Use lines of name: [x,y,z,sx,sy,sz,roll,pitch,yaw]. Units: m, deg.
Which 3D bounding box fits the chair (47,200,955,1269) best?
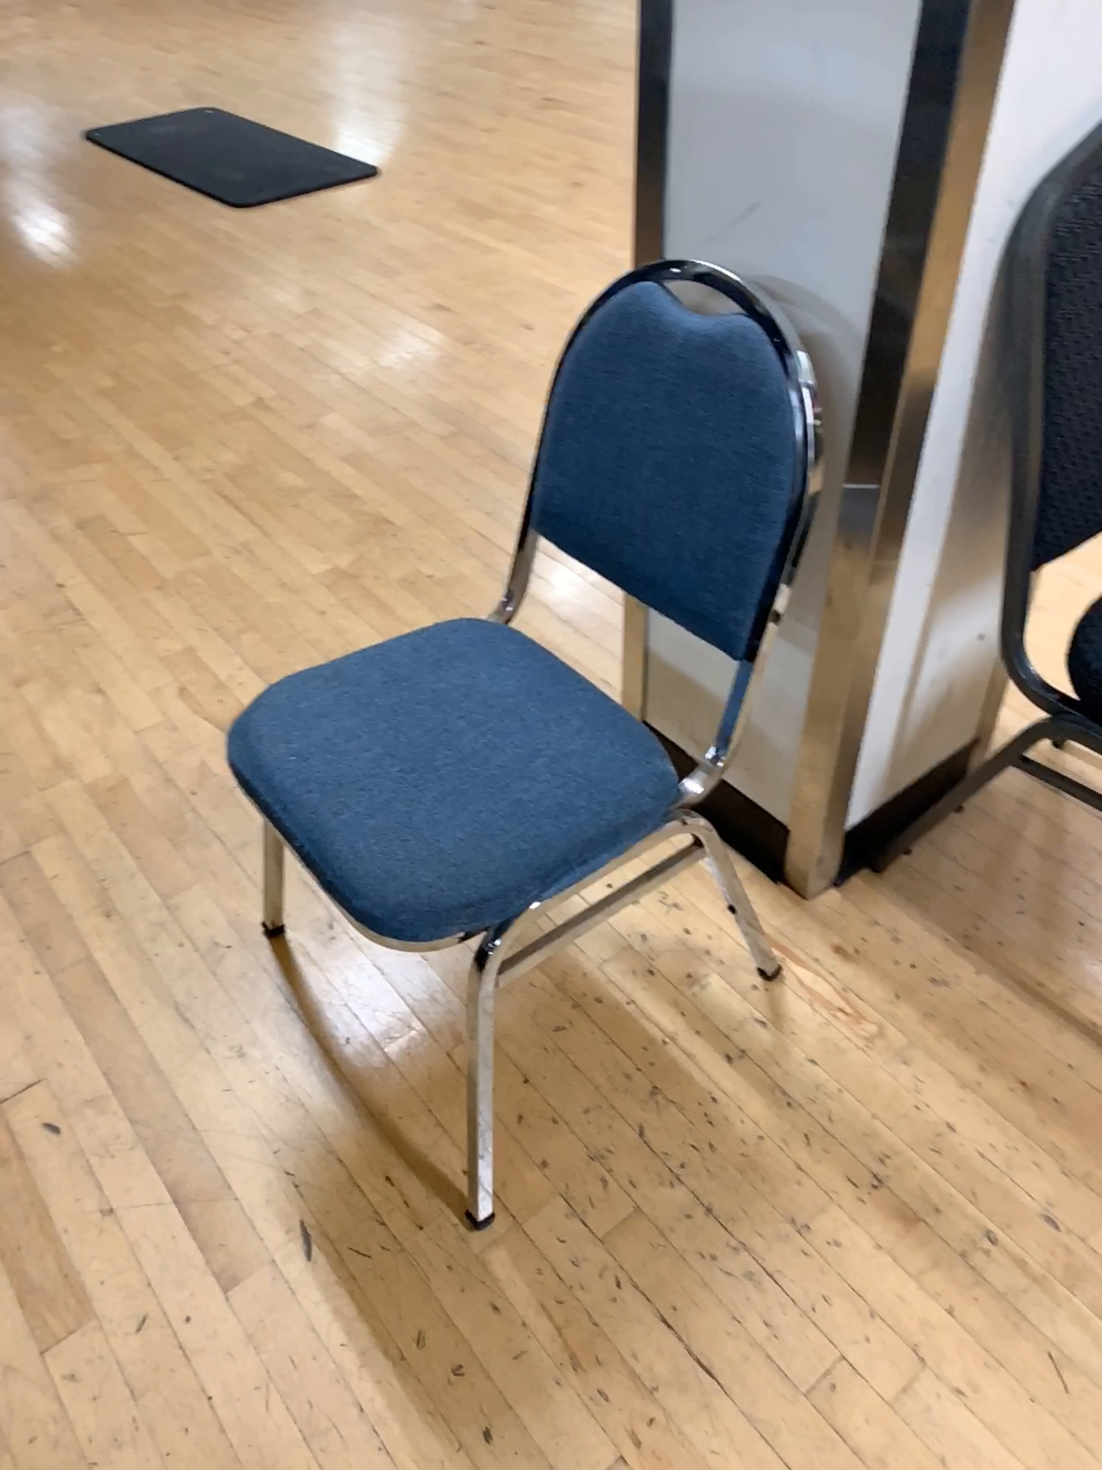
chair: [-0.048,0.001,1.238,0.554,0.888,0.550,-28,47,-26]
